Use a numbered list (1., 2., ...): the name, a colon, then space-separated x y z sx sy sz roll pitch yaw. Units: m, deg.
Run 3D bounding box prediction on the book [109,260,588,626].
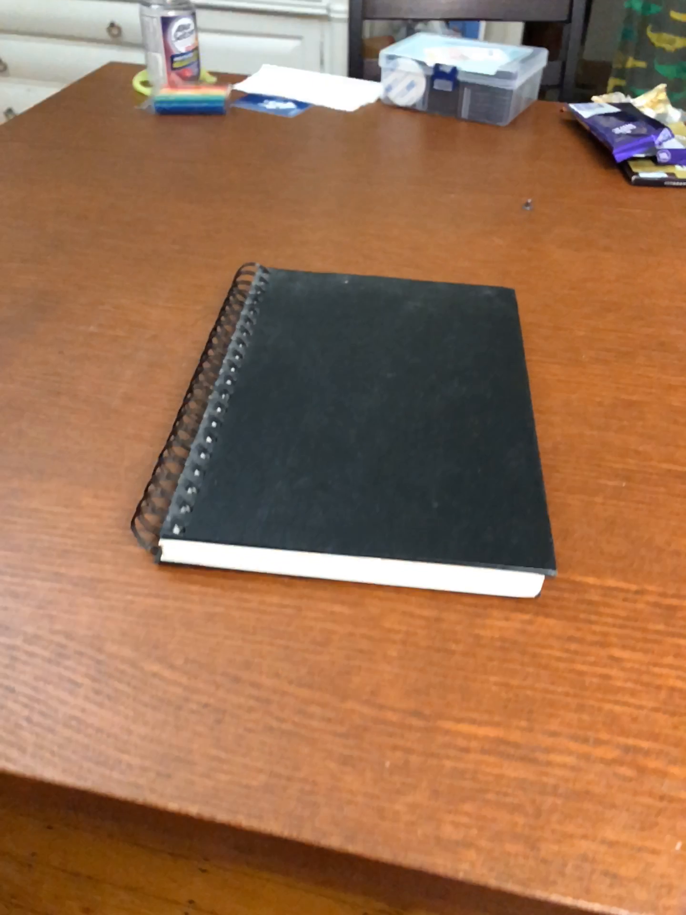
1. book: 0.011 -0.031 0.425 0.200 0.030 0.262 4 41 3
